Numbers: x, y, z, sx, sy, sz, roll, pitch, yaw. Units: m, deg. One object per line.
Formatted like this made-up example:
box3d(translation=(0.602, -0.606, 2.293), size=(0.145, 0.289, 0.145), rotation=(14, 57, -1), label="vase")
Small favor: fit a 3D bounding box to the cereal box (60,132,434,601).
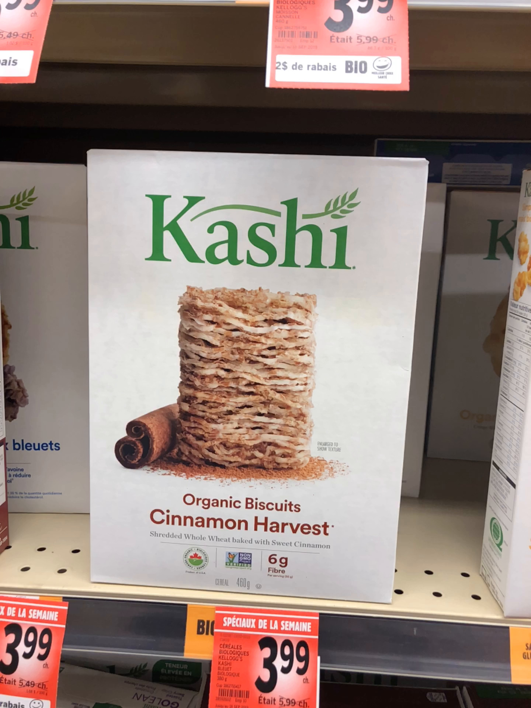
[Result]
box3d(translation=(-0.013, 0.007, 0.374), size=(0.200, 0.269, 0.070), rotation=(3, 12, 4), label="cereal box")
